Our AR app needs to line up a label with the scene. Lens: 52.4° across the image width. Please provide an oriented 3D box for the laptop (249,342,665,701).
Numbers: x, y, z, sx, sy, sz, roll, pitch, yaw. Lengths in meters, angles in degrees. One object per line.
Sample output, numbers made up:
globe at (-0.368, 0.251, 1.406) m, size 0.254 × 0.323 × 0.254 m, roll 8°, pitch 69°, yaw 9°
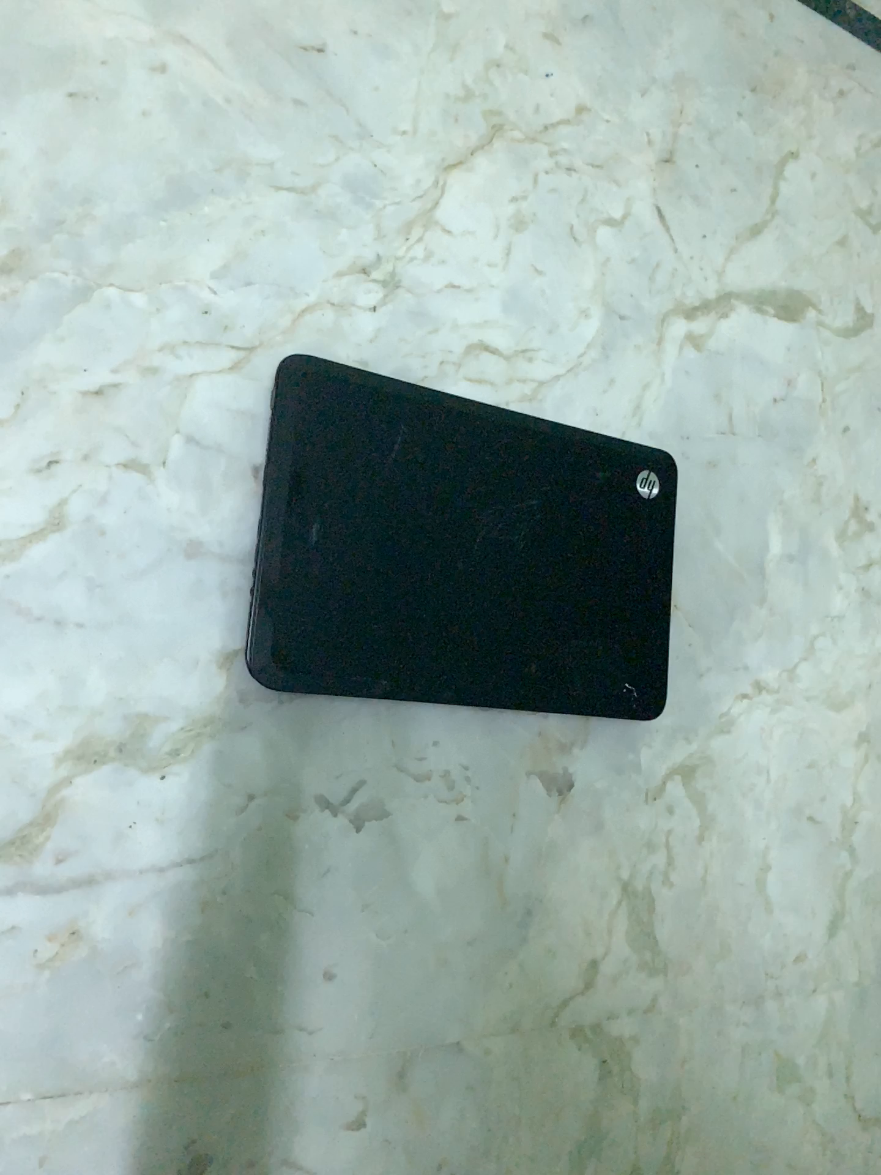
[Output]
laptop at (0.029, -0.038, 0.674) m, size 0.333 × 0.022 × 0.221 m, roll 8°, pitch 74°, yaw -27°
